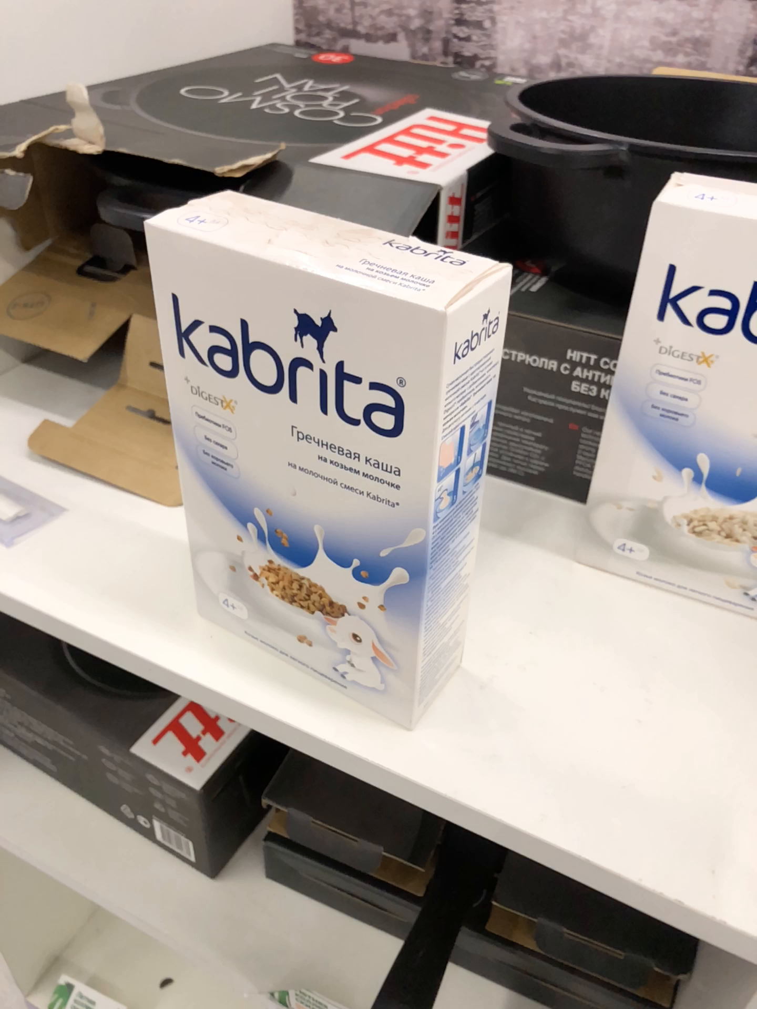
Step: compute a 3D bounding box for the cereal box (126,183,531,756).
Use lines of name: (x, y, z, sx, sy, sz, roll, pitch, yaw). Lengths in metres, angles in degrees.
cereal box: (-0.024, -0.009, 0.365, 0.140, 0.219, 0.050, 21, 40, 23)
